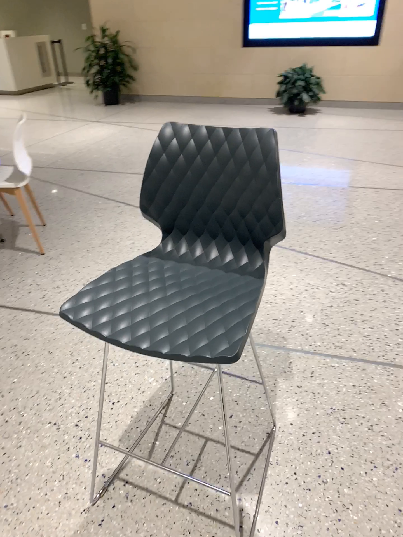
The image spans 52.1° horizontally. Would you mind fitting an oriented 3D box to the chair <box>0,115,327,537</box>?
[{"bbox_3d":[-0.055,0.181,1.097,0.535,0.996,0.535,12,33,22],"label":"chair"}]
